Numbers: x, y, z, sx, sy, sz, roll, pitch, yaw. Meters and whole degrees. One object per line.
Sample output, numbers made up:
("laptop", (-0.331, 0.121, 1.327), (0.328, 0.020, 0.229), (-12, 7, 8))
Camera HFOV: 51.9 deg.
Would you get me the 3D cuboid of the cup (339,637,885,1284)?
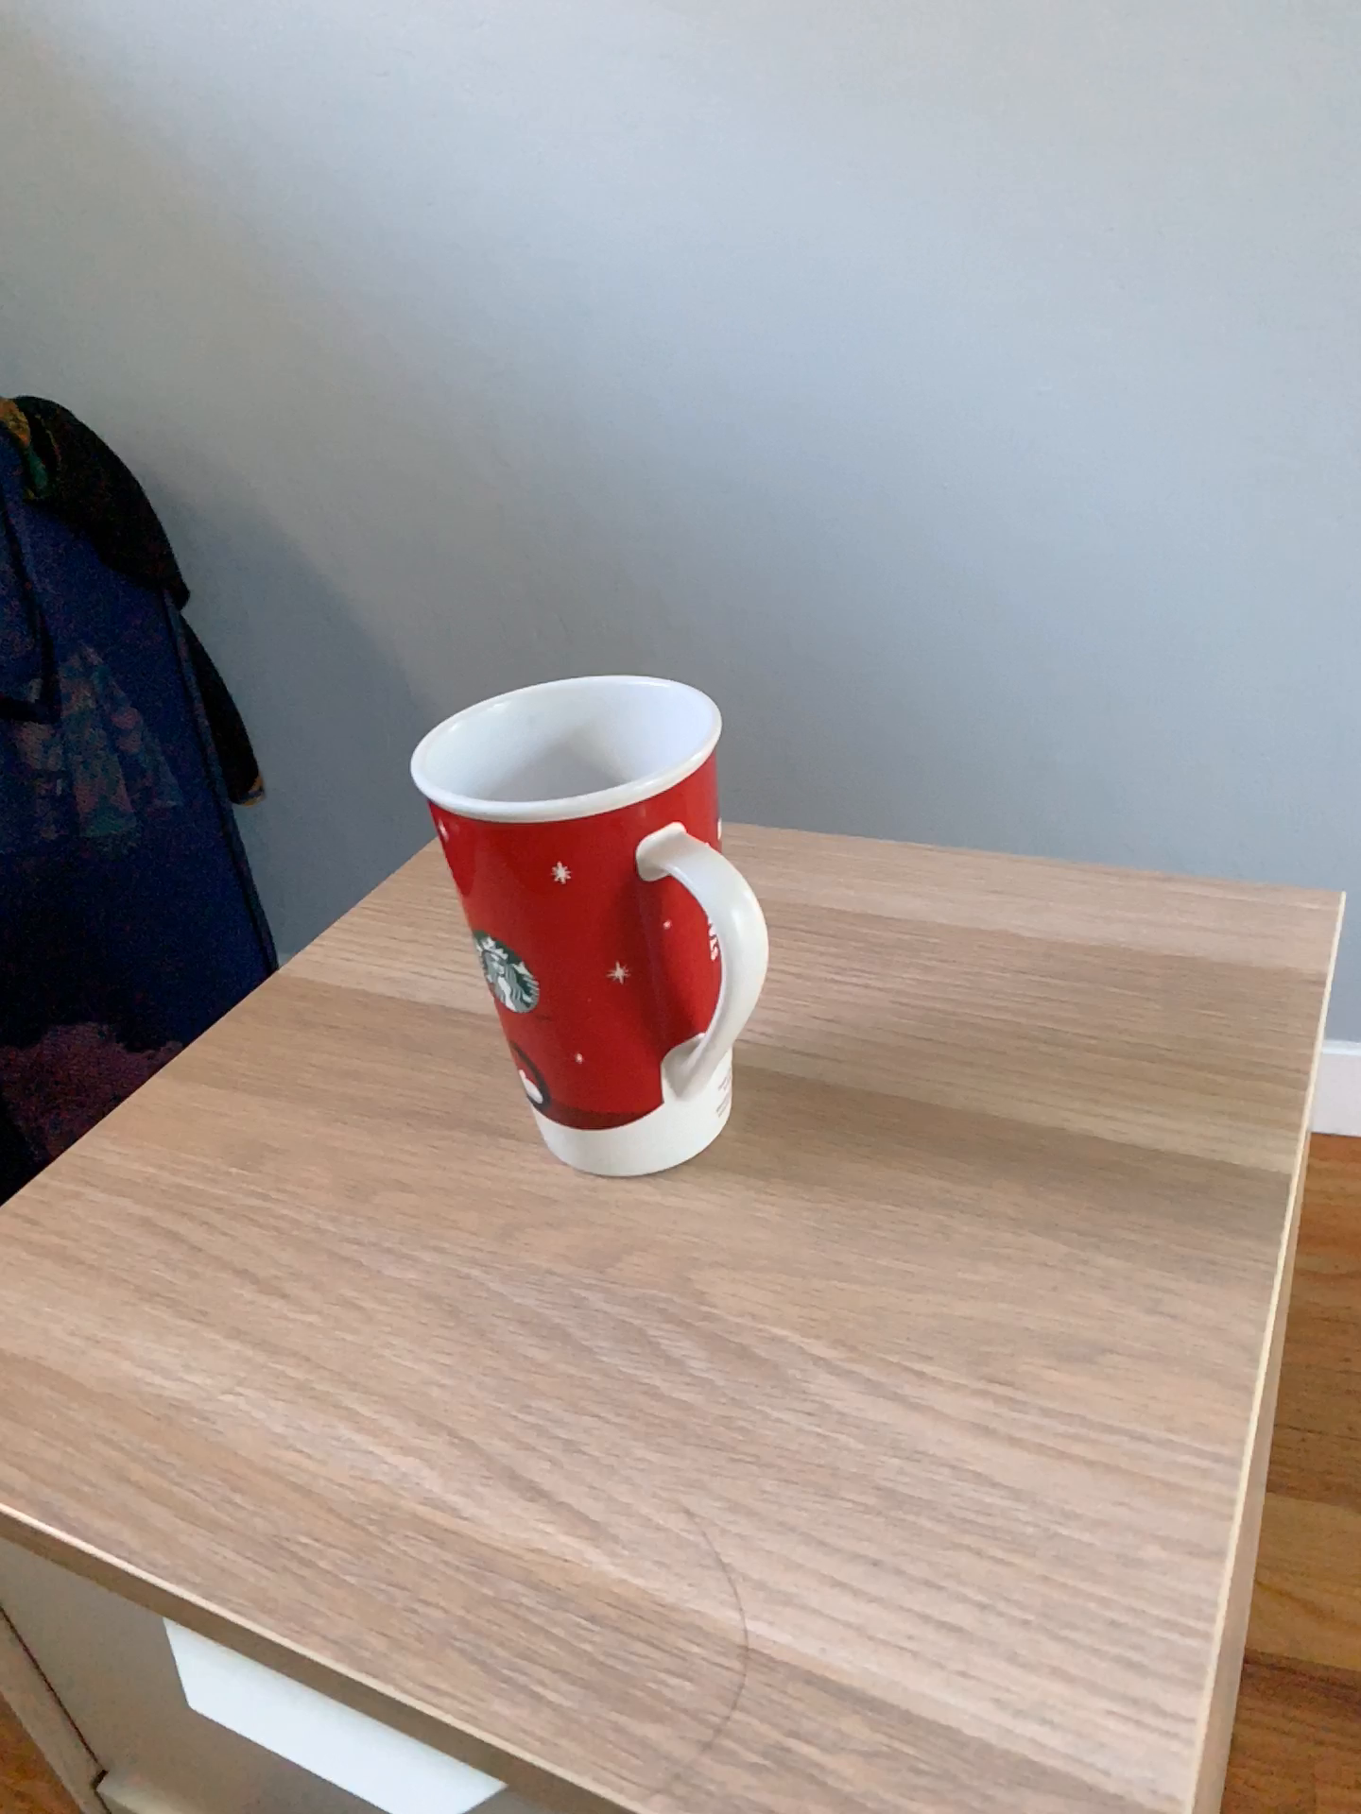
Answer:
("cup", (-0.017, 0.011, 0.436), (0.131, 0.149, 0.080), (21, 43, 40))
